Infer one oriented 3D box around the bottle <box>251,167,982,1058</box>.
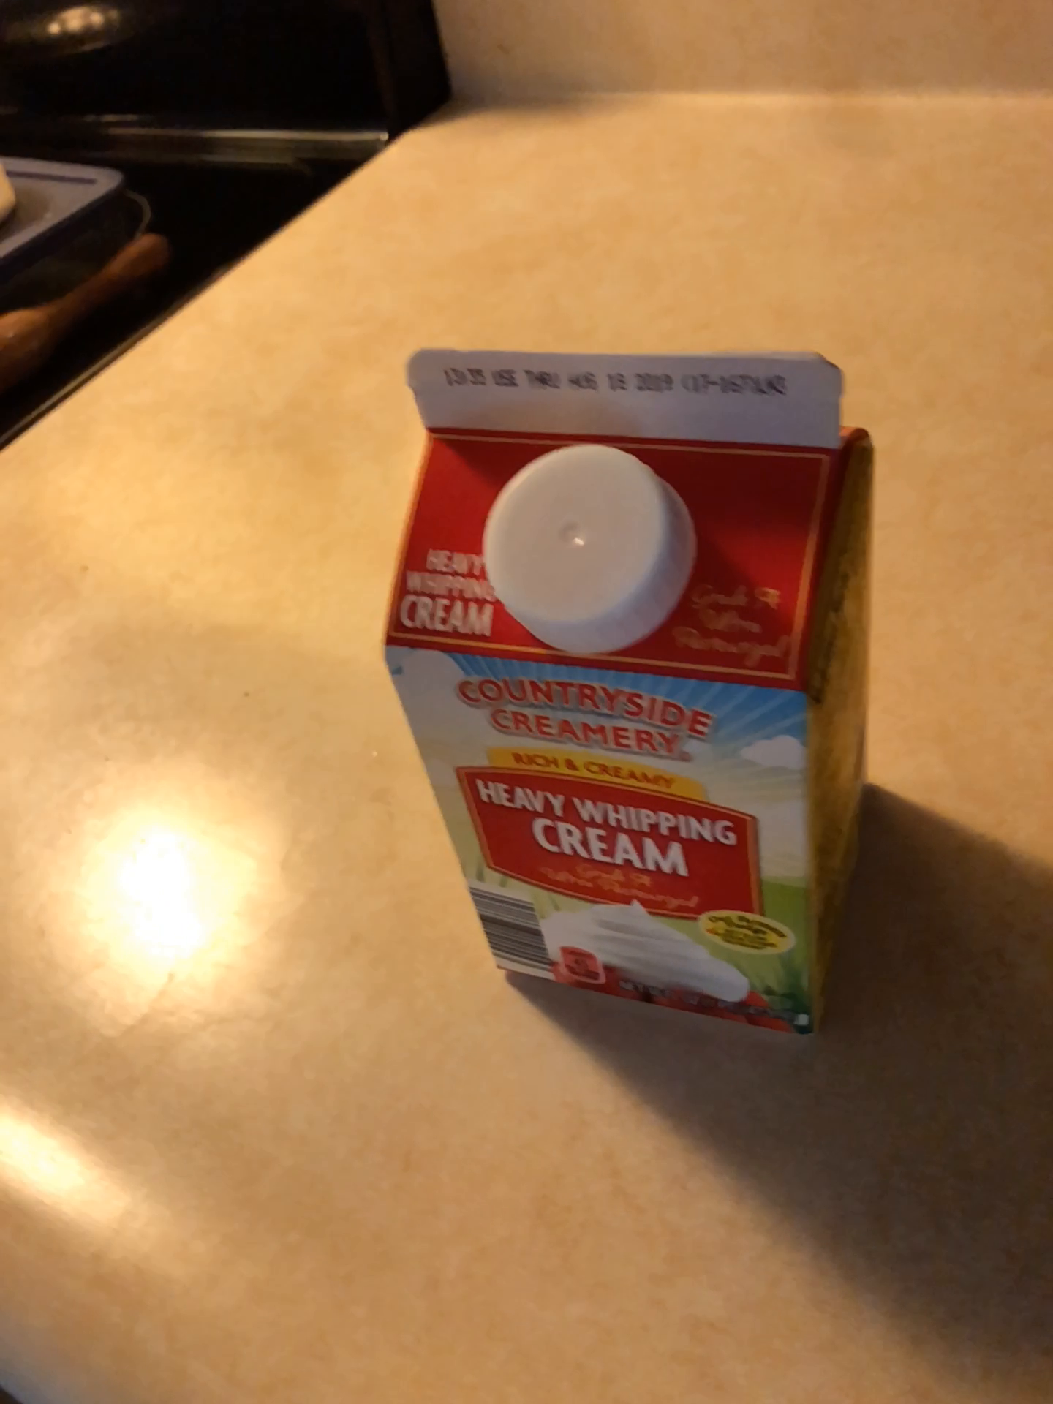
[{"bbox_3d":[0.029,-0.015,0.225,0.090,0.130,0.090,-8,44,7],"label":"bottle"}]
